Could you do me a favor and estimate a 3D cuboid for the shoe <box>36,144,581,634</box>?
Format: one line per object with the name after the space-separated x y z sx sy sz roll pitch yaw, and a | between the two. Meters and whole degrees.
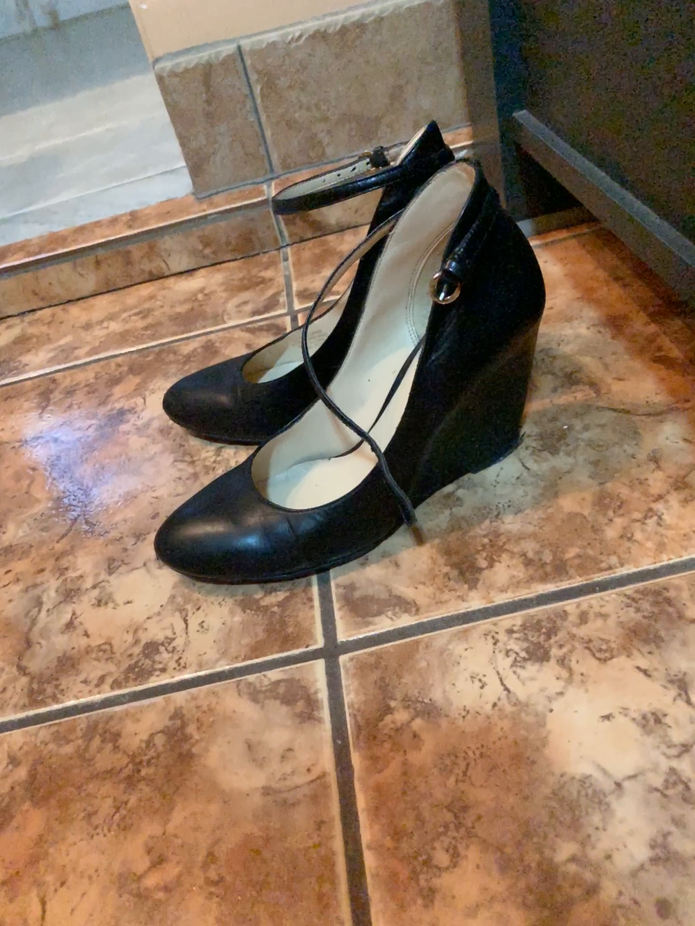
-0.009 -0.035 0.333 0.209 0.140 0.087 -22 39 -6 | shoe

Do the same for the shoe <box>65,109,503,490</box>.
-0.024 -0.087 0.415 0.200 0.159 0.079 -12 39 6 | shoe
